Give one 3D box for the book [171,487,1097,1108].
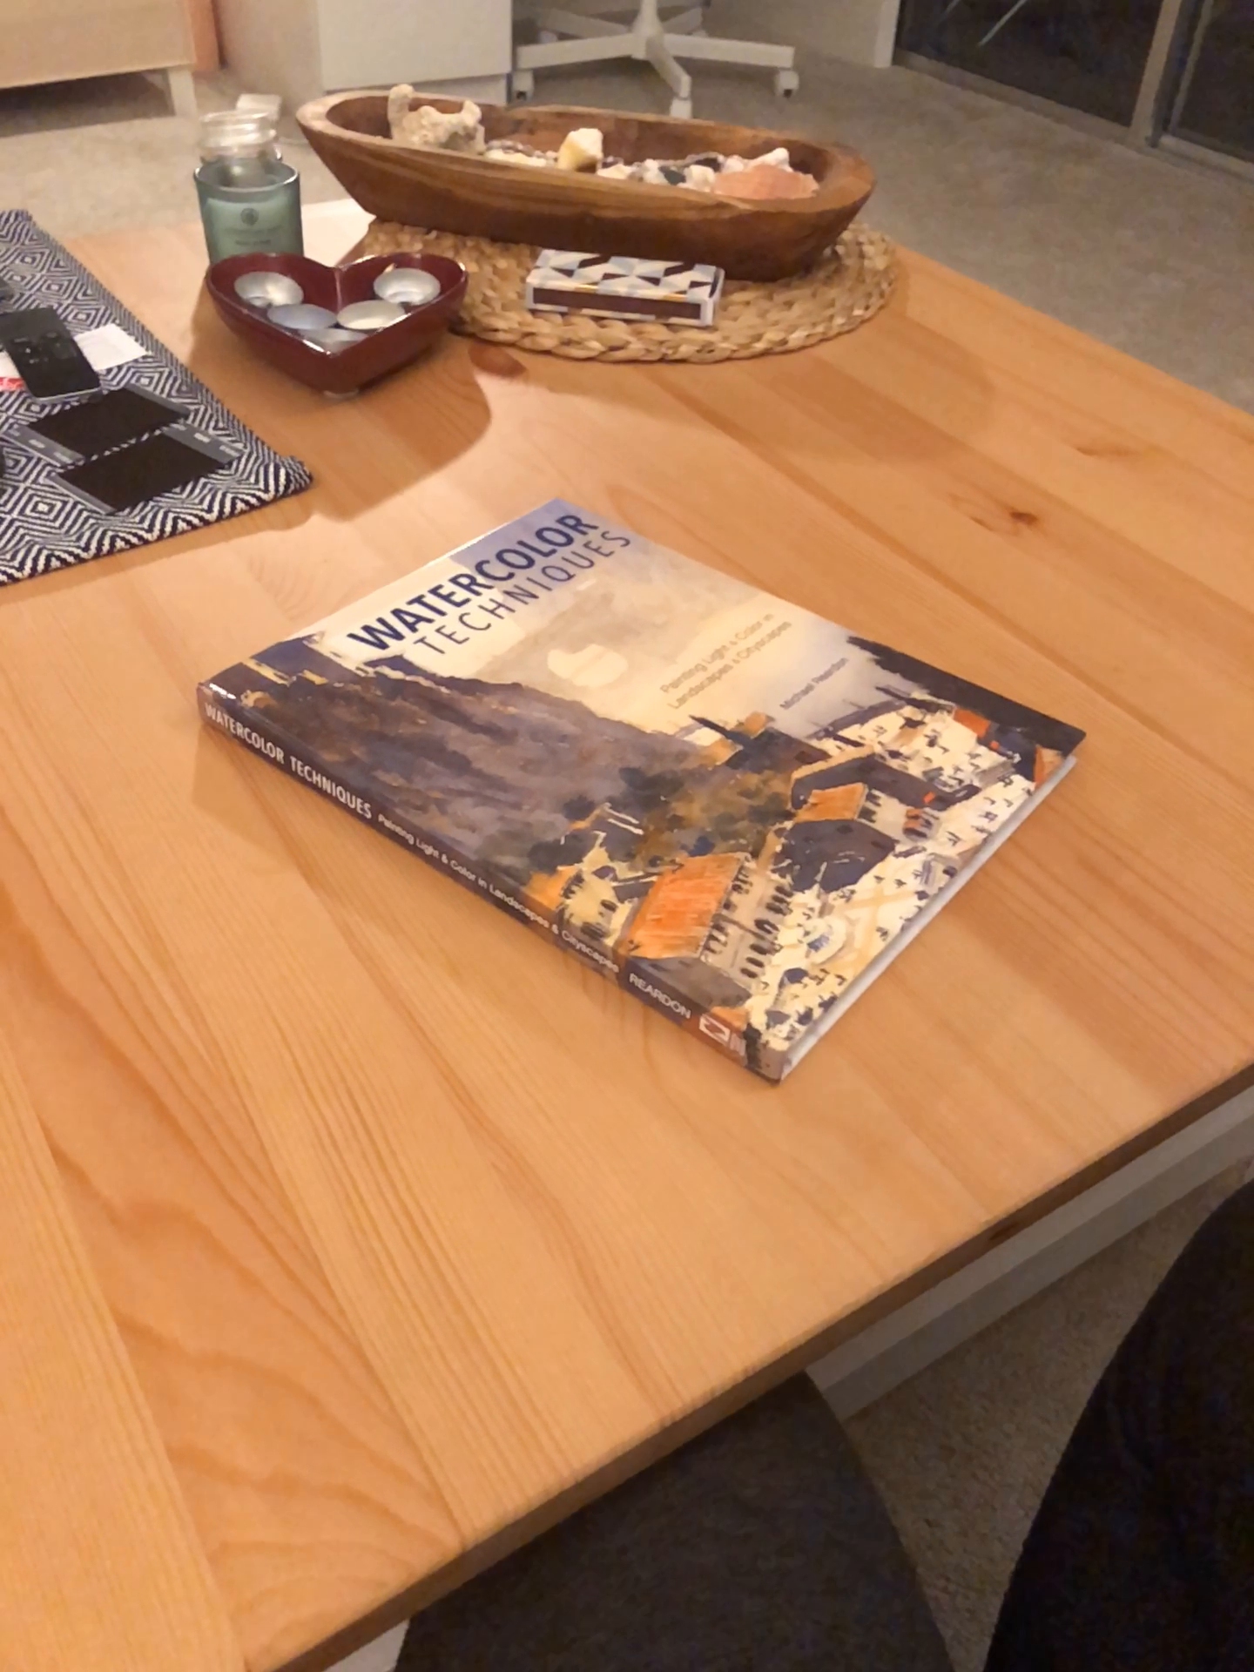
[{"bbox_3d":[0.004,-0.042,0.529,0.279,0.020,0.214,29,47,26],"label":"book"}]
